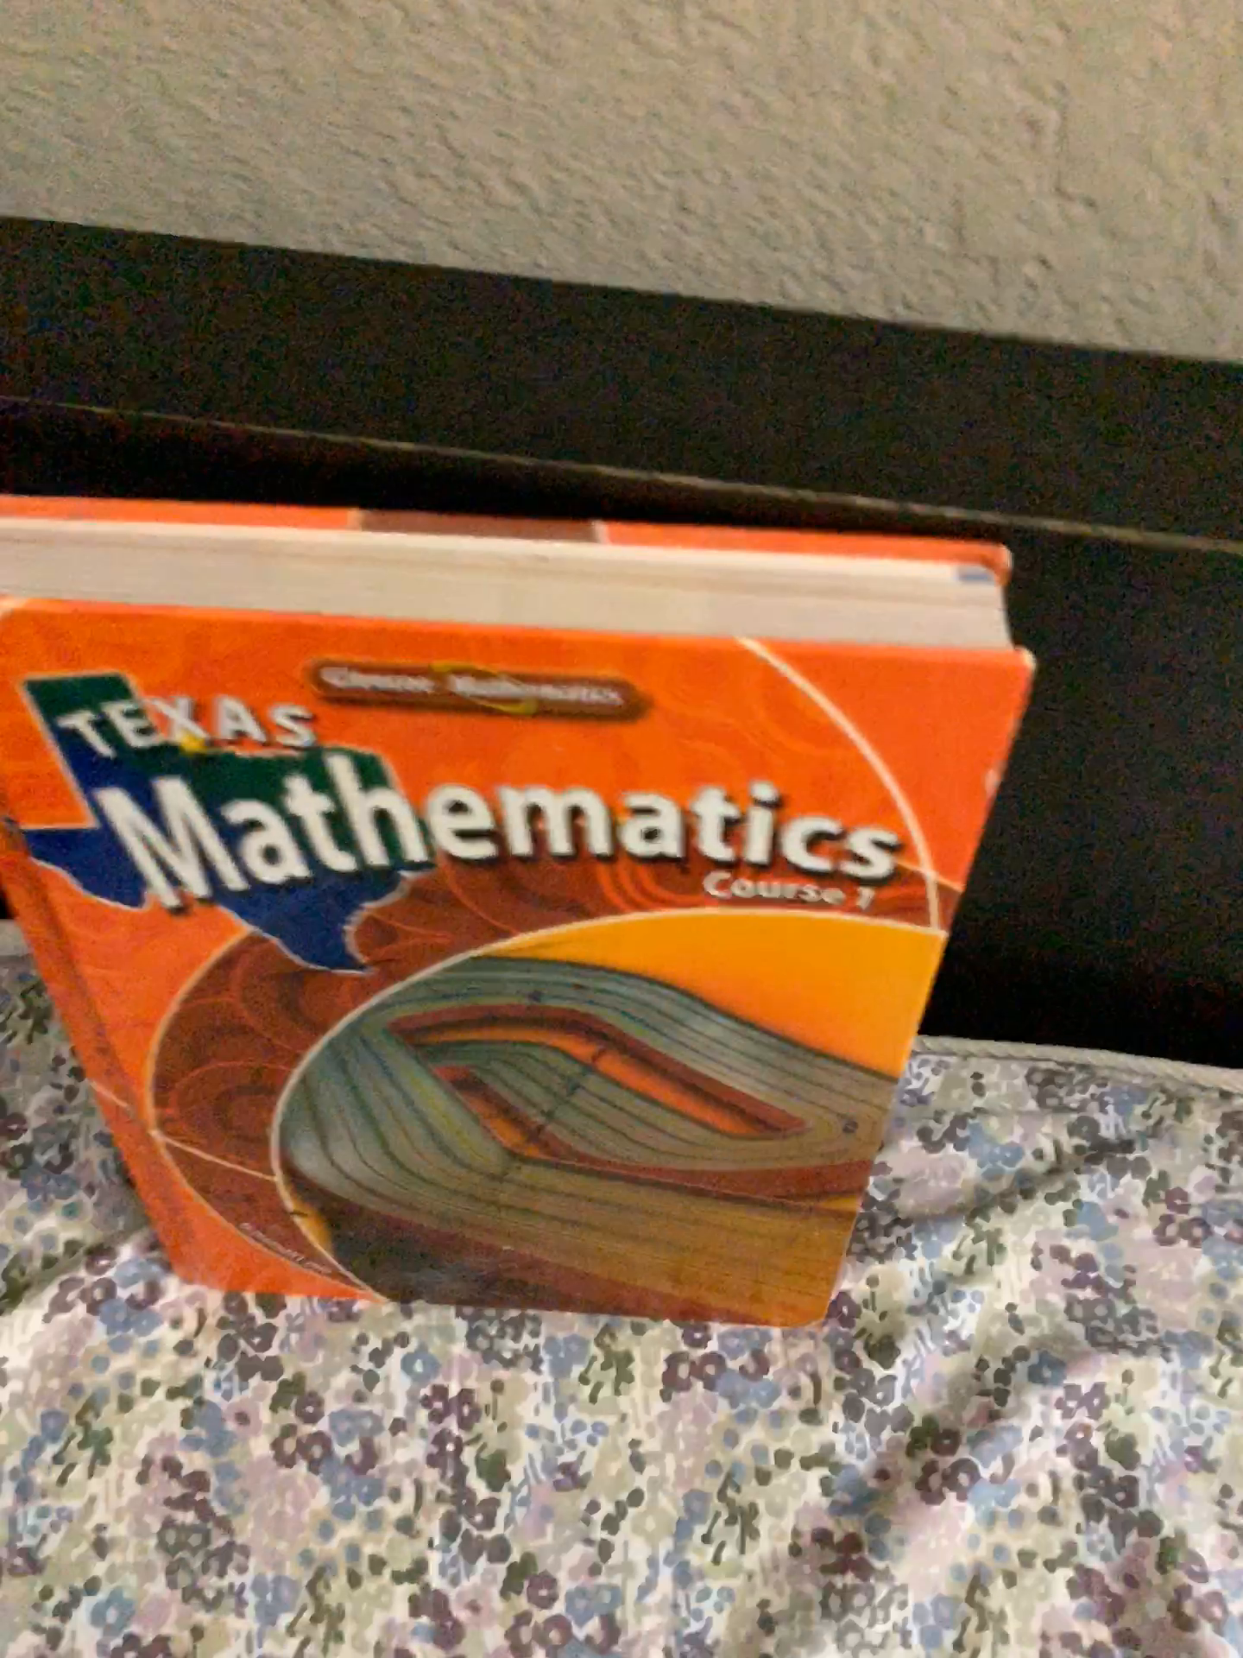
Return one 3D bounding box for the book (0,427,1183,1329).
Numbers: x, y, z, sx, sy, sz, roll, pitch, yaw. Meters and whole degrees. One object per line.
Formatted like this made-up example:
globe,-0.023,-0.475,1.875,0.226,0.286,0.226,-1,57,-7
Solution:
book,-0.029,0.048,0.335,0.230,0.300,0.050,2,49,-1
